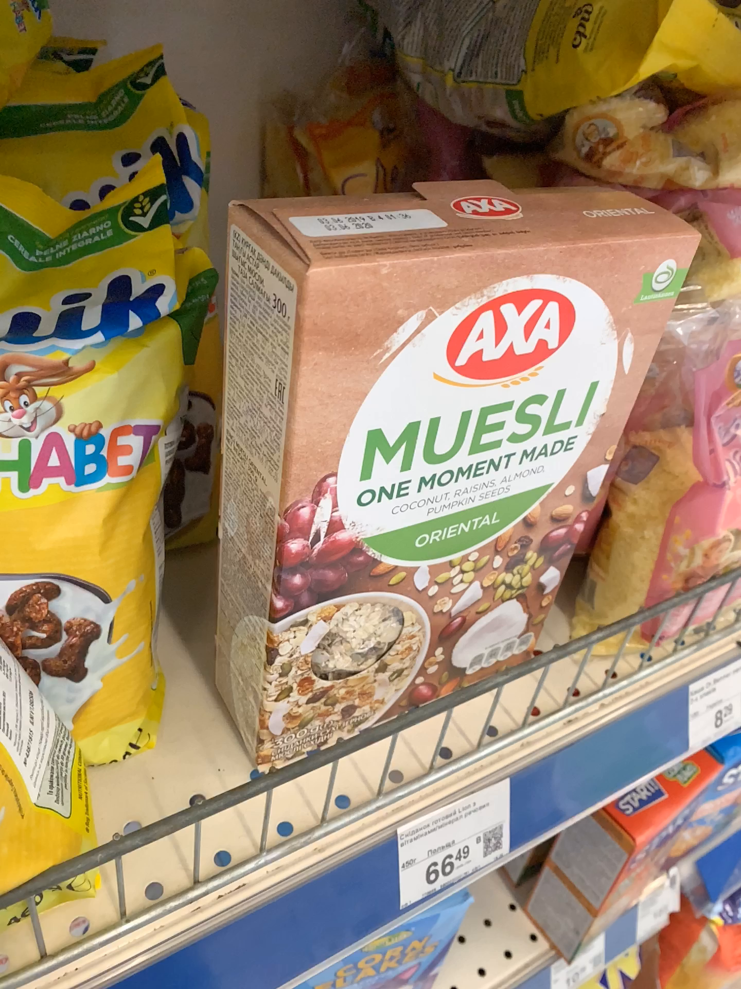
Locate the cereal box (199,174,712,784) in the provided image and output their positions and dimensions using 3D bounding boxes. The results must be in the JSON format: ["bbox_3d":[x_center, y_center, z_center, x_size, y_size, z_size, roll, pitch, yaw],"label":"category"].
[{"bbox_3d":[0.016,0.000,0.293,0.150,0.218,0.050,-14,44,-28],"label":"cereal box"}]
